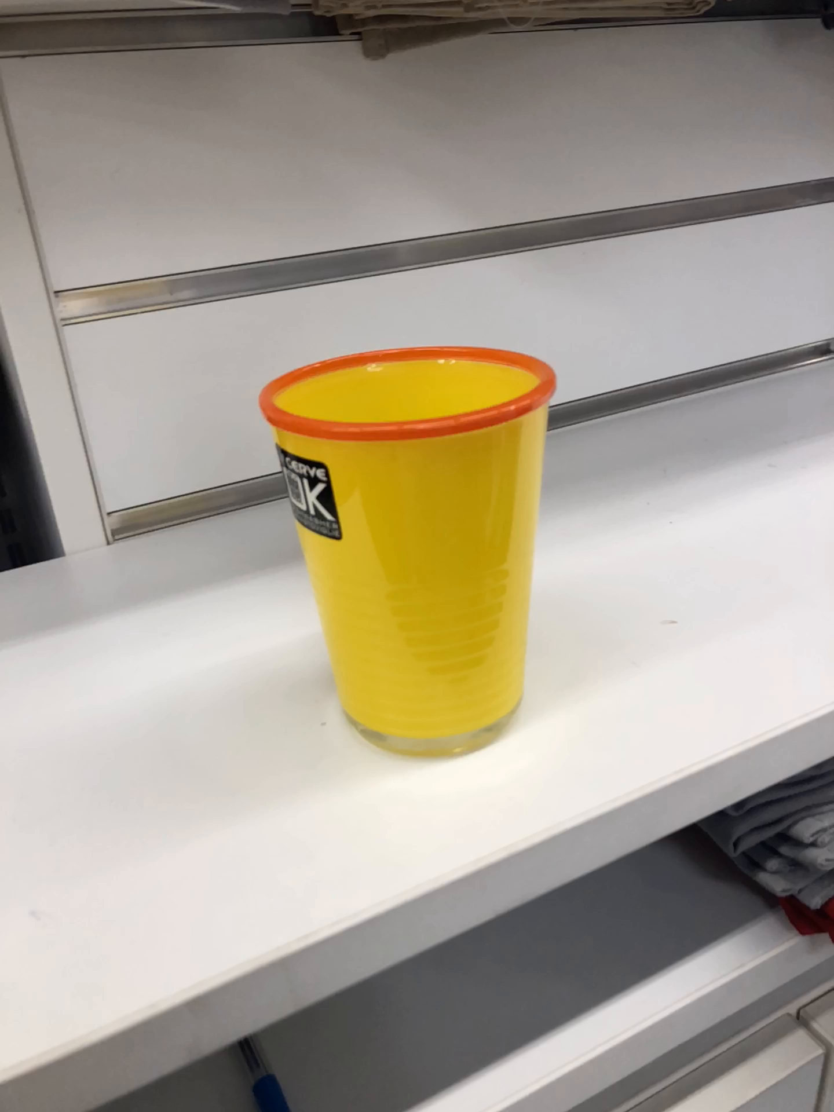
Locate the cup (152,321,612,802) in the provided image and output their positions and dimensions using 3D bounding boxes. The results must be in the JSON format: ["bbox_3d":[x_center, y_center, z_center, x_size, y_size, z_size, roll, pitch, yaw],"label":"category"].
[{"bbox_3d":[-0.006,-0.008,0.262,0.088,0.094,0.085,-4,25,2],"label":"cup"}]
